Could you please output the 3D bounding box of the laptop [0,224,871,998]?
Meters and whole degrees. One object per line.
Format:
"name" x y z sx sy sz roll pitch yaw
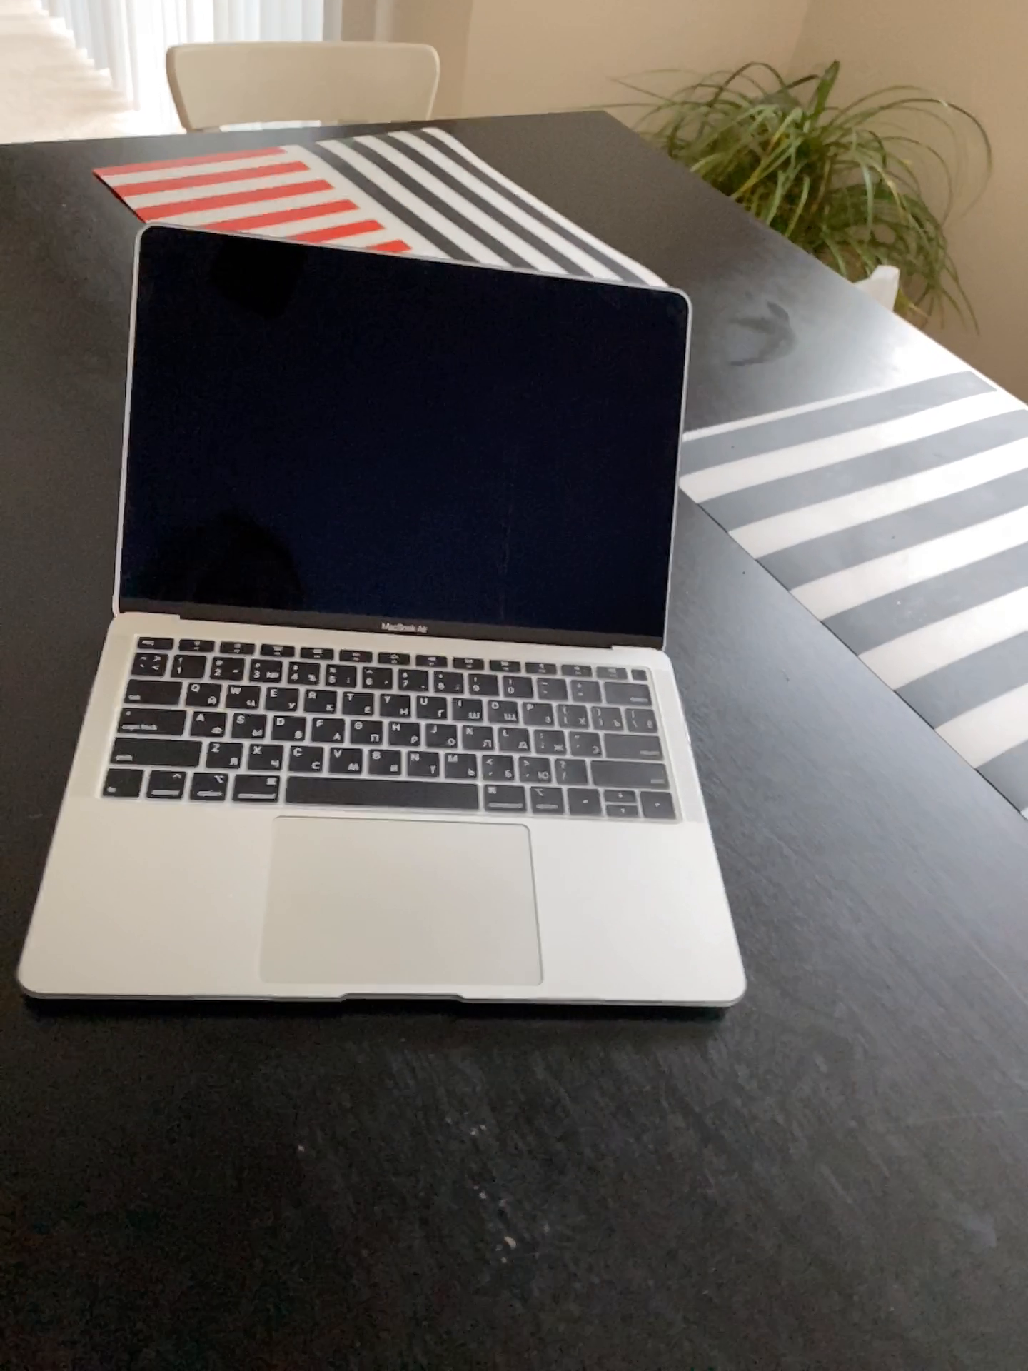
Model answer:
"laptop" -0.049 -0.053 0.504 0.296 0.139 0.363 3 47 -10
